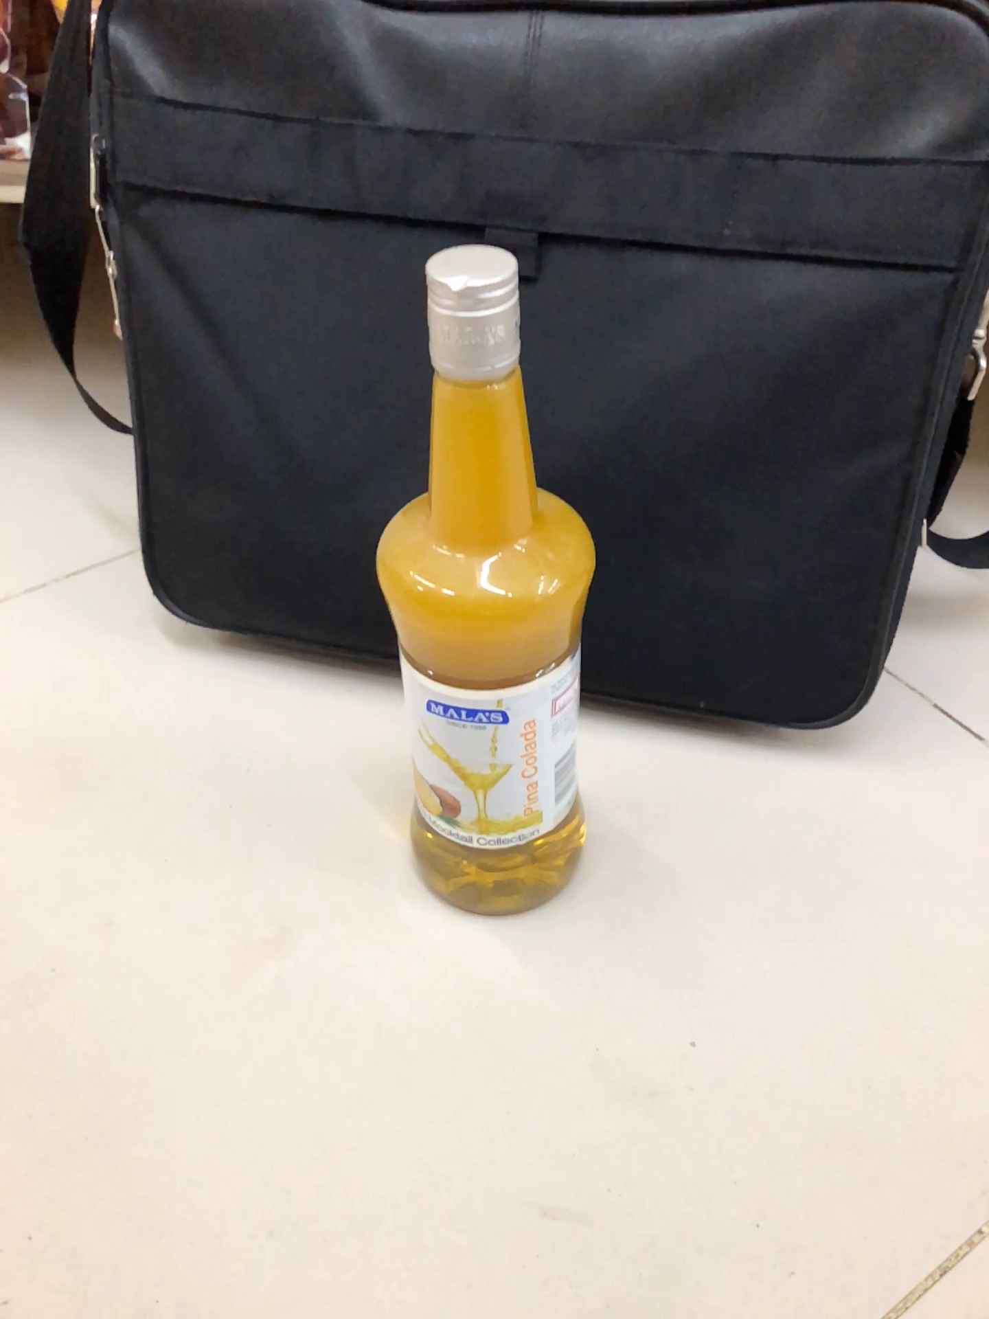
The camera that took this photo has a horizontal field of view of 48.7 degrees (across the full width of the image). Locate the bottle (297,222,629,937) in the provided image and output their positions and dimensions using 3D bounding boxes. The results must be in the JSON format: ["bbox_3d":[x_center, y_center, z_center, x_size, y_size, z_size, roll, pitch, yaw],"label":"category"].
[{"bbox_3d":[-0.002,-0.012,0.435,0.090,0.288,0.081,5,43,8],"label":"bottle"}]
